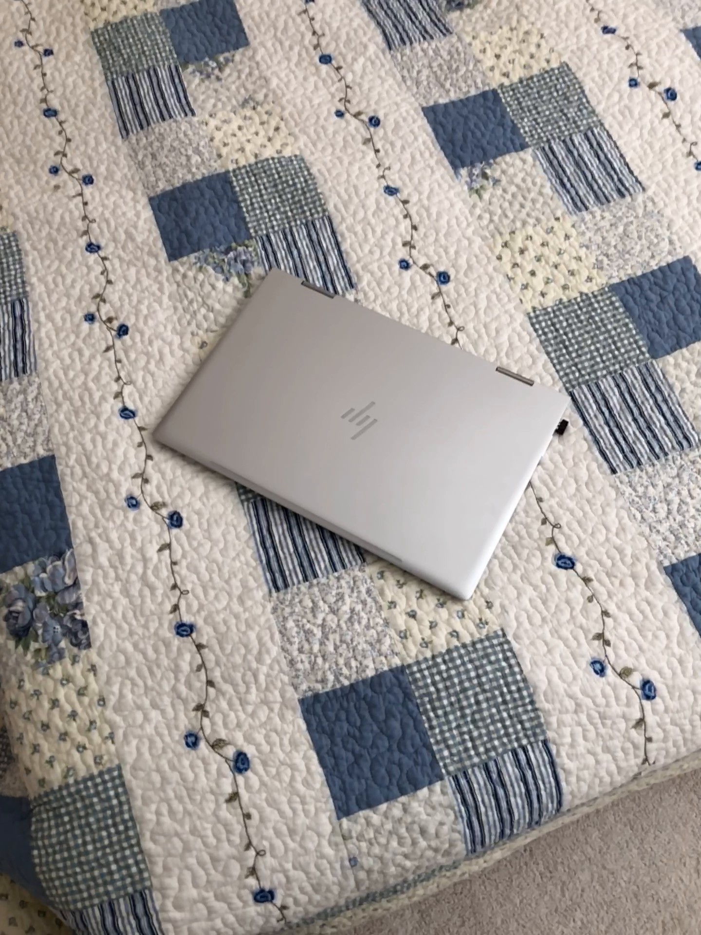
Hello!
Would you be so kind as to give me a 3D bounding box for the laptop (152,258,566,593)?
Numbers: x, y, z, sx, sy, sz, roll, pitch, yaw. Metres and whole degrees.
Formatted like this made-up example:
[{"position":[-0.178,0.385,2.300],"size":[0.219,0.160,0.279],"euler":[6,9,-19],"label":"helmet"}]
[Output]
[{"position":[0.009,-0.064,0.860],"size":[0.386,0.011,0.256],"euler":[26,70,13],"label":"laptop"}]
